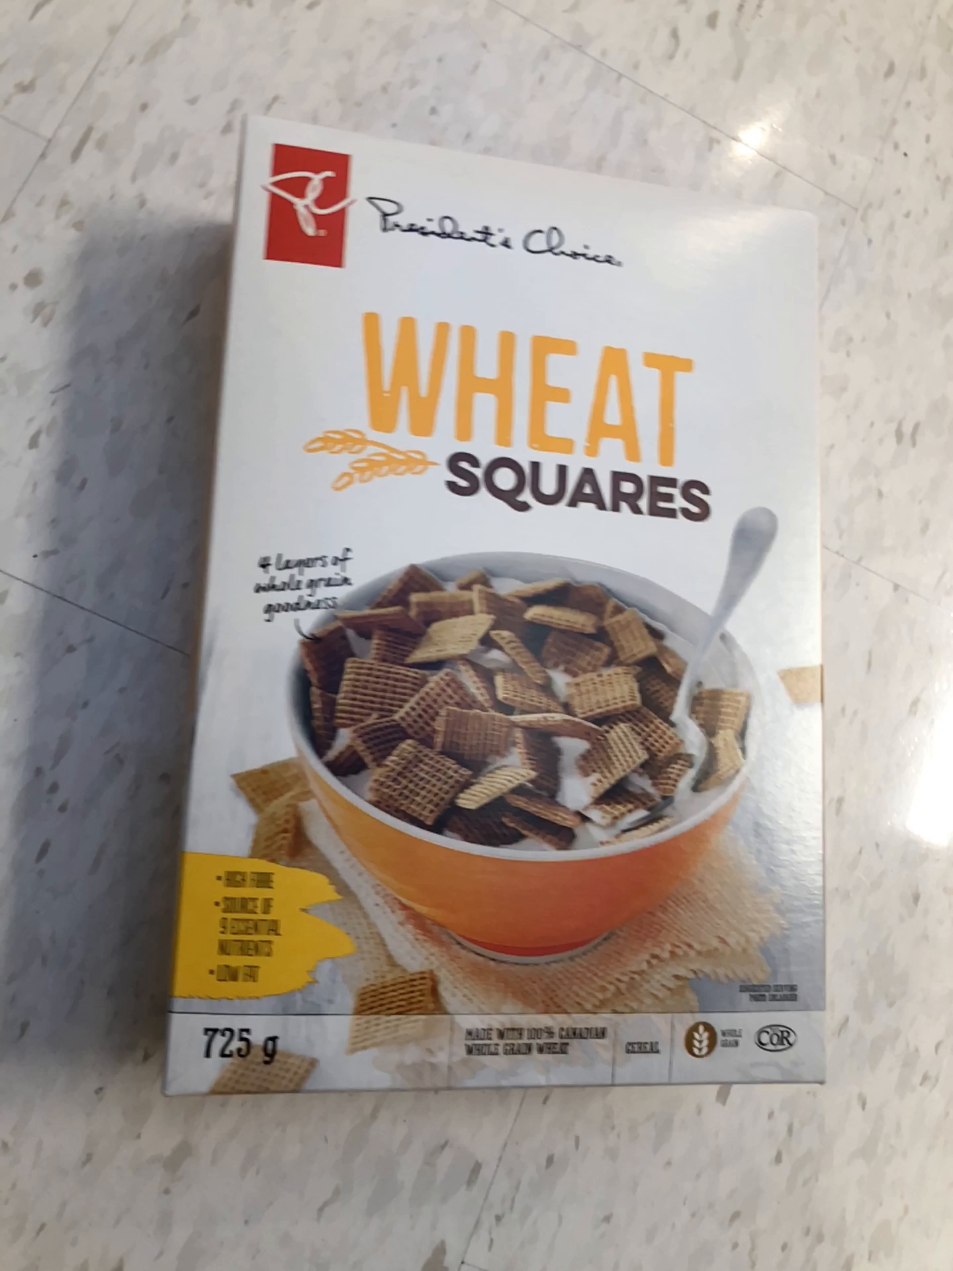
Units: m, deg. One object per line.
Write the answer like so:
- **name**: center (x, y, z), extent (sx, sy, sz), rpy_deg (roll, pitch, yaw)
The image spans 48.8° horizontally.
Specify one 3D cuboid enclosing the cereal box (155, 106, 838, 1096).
- **cereal box**: center (0.009, -0.008, 0.361), extent (0.200, 0.080, 0.290), rpy_deg (4, 80, -13)
